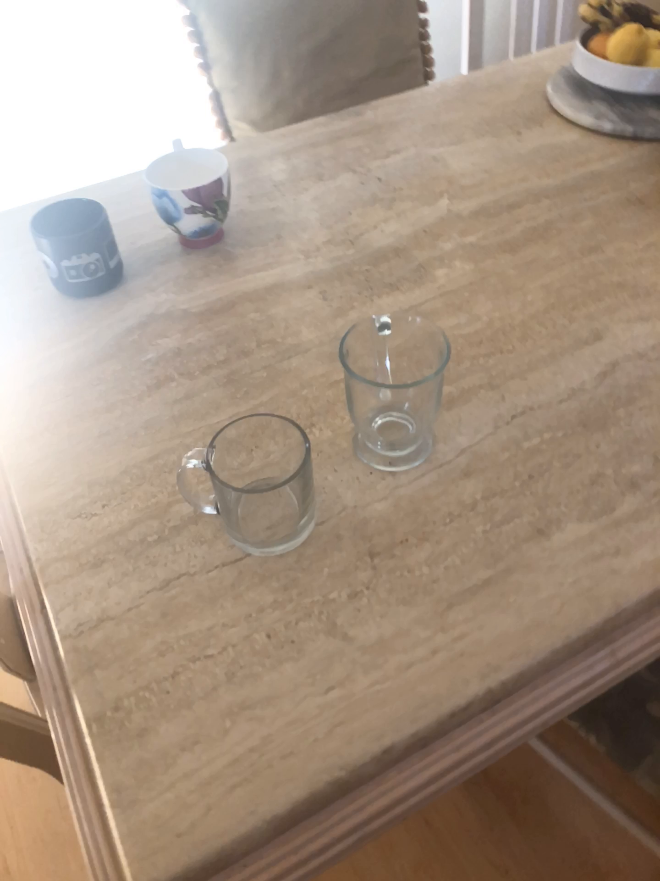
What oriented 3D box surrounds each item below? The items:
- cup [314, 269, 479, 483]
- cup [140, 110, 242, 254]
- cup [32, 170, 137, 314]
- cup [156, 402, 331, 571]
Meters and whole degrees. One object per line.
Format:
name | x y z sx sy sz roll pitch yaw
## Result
cup | 0.057 -0.063 0.678 0.110 0.109 0.151 -11 48 -5
cup | -0.185 -0.344 0.959 0.100 0.099 0.171 -12 48 -6
cup | -0.310 -0.251 0.914 0.090 0.109 0.131 -15 48 -9
cup | -0.068 0.041 0.632 0.130 0.109 0.091 -3 47 2
